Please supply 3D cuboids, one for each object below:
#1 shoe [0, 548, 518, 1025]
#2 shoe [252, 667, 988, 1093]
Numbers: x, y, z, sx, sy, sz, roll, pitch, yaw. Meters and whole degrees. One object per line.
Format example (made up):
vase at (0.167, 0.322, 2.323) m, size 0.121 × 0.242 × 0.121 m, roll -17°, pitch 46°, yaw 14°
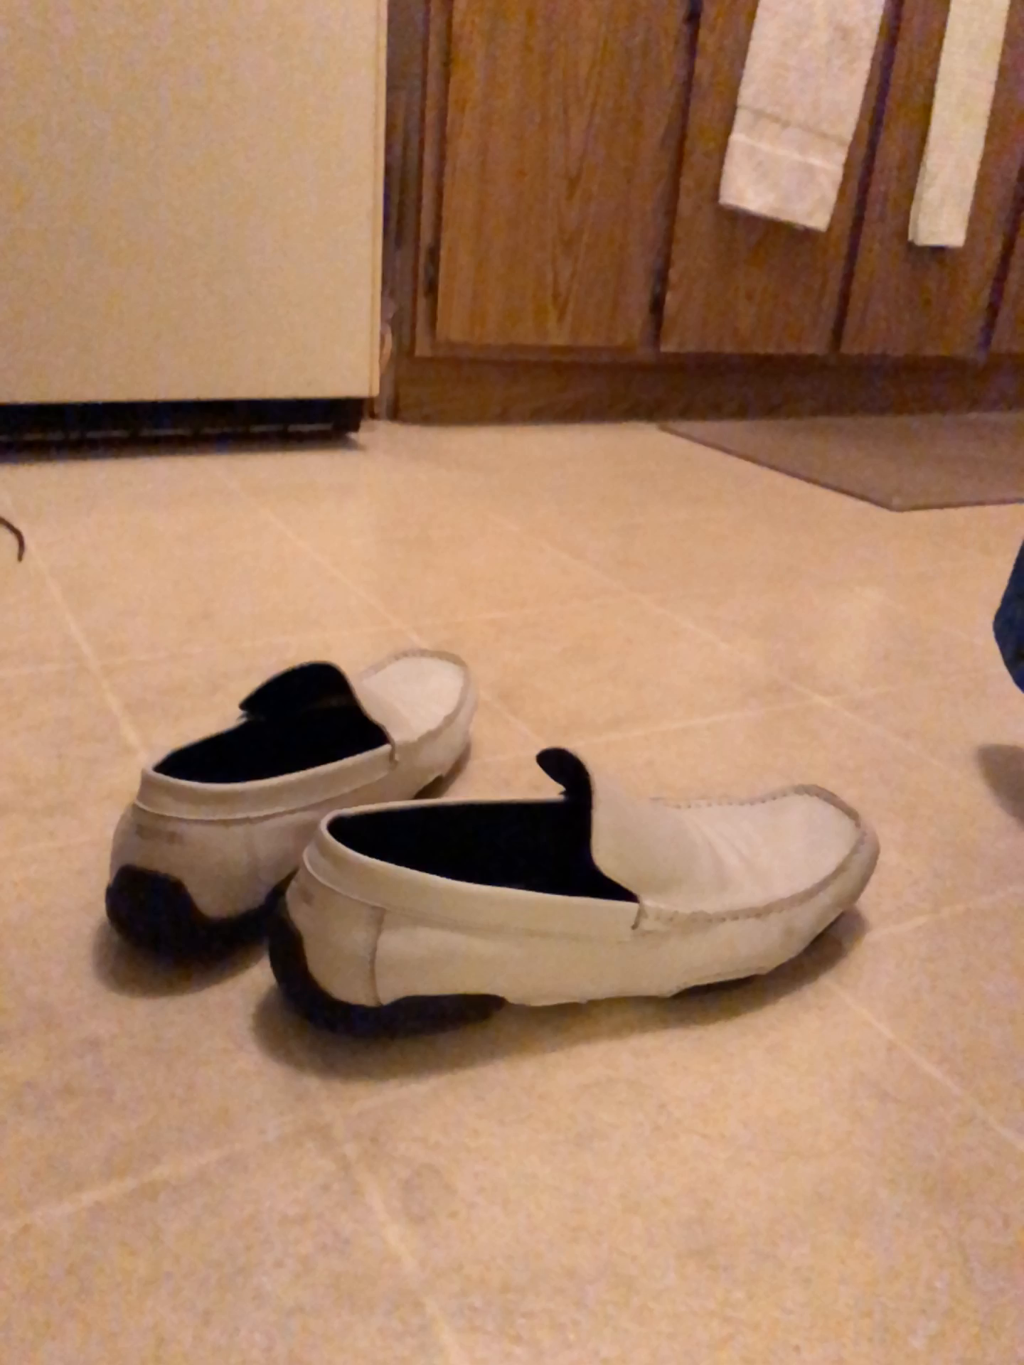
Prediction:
shoe at (-0.103, 0.025, 0.572) m, size 0.110 × 0.097 × 0.308 m, roll 11°, pitch 24°, yaw 16°
shoe at (0.044, 0.070, 0.490) m, size 0.290 × 0.097 × 0.111 m, roll -5°, pitch 25°, yaw -21°
